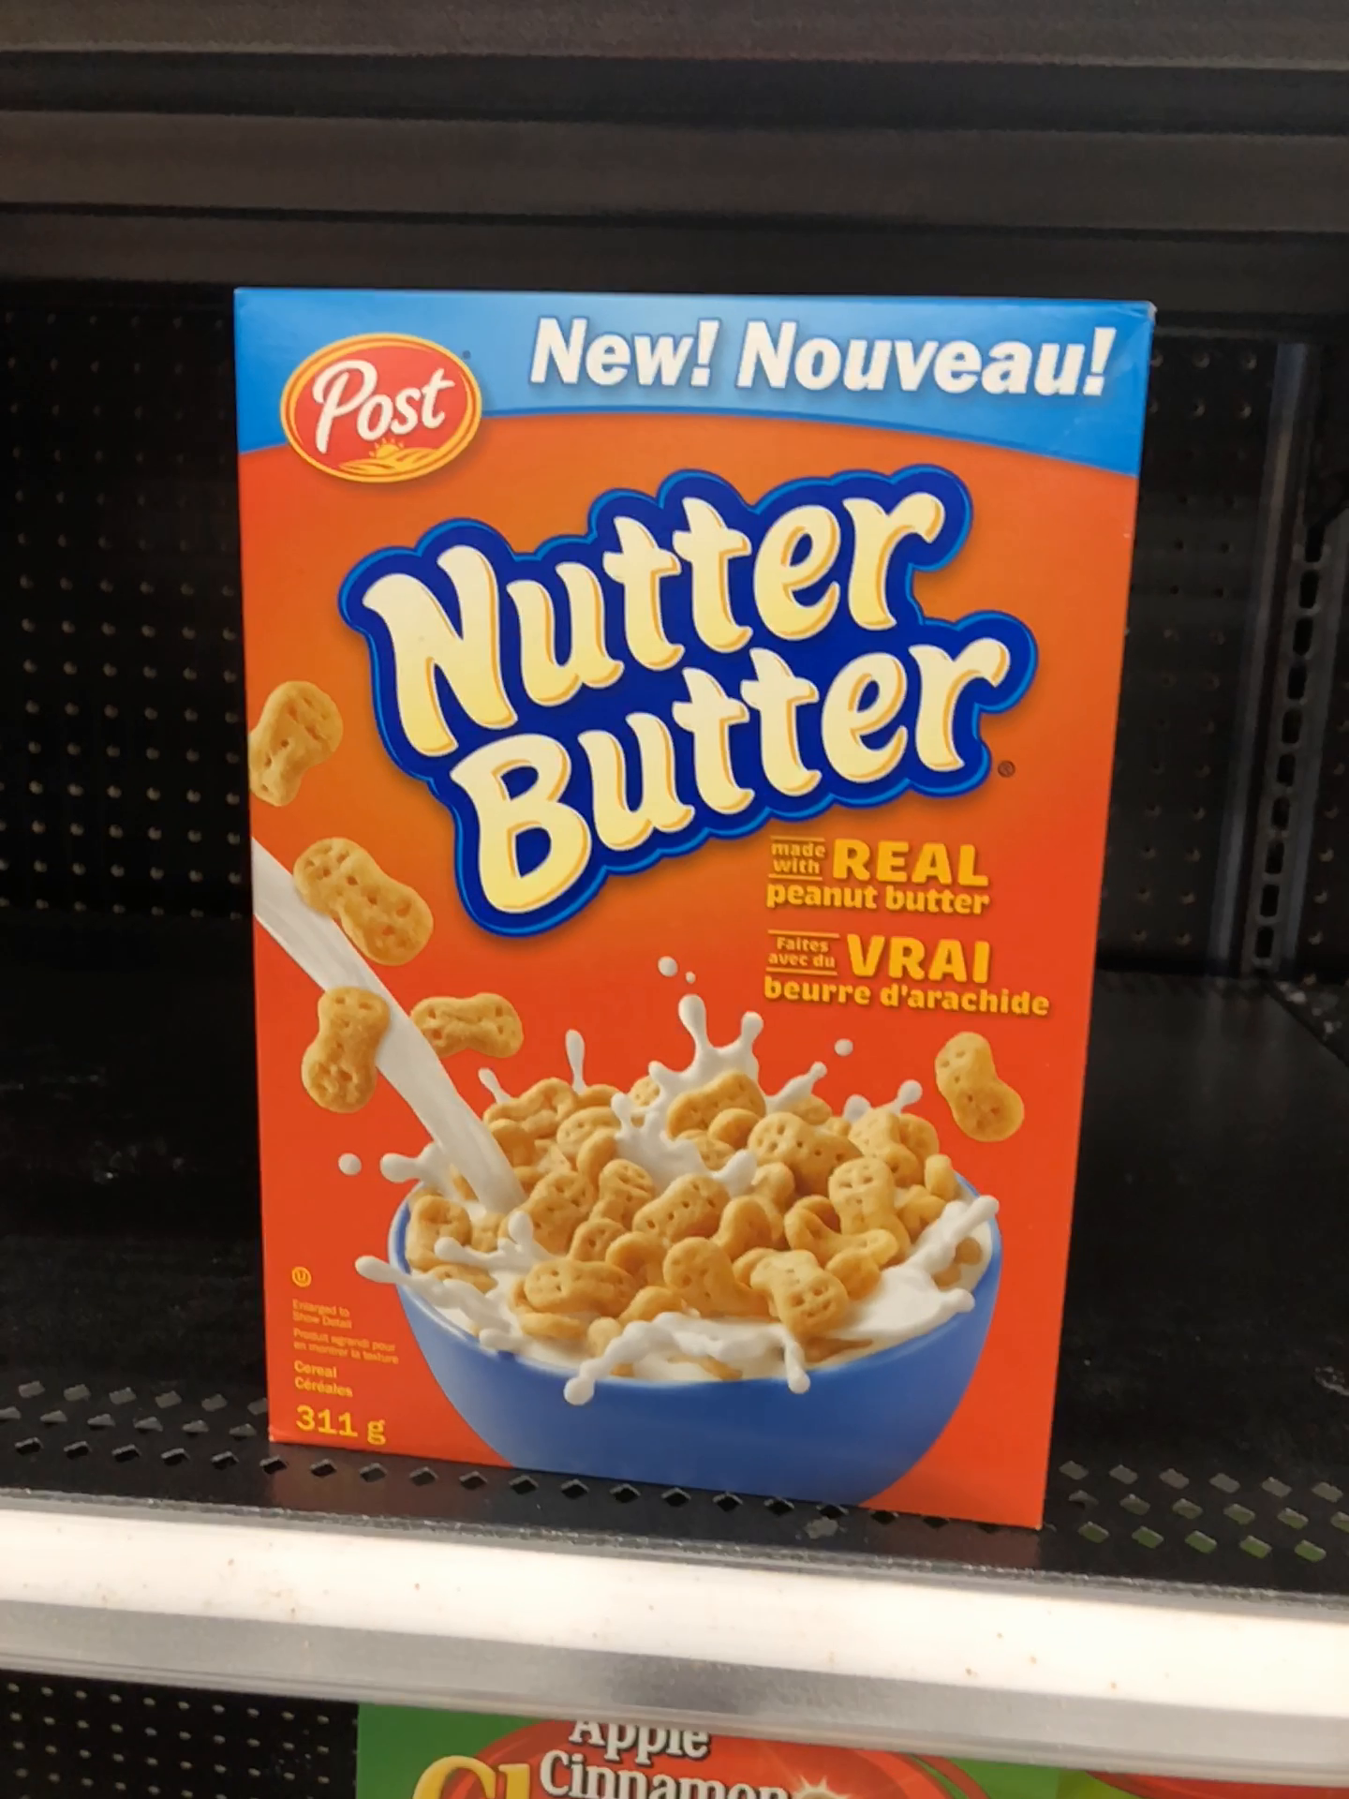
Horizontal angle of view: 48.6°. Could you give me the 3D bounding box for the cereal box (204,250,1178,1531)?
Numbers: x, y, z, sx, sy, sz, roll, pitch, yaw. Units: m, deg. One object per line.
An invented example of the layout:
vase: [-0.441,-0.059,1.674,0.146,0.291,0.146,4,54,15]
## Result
cereal box: [-0.002,-0.001,0.363,0.200,0.279,0.060,4,12,7]
